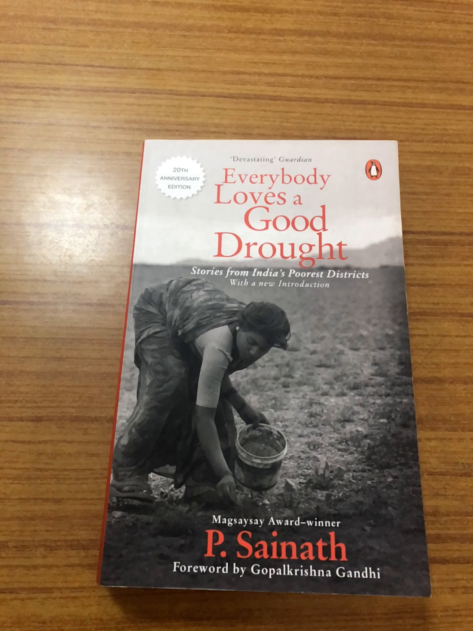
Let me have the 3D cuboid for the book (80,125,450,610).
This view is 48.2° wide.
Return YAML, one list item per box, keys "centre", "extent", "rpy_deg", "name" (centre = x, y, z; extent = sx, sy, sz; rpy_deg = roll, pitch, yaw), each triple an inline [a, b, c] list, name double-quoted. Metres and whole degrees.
- centre: [0.014, 0.015, 0.250]
  extent: [0.140, 0.040, 0.210]
  rpy_deg: [3, 72, -2]
  name: "book"
